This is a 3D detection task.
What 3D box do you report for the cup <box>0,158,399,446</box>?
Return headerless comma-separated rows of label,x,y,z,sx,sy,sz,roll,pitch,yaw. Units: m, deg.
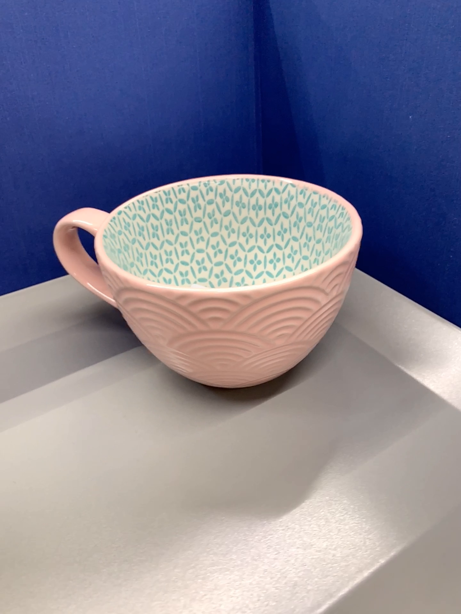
cup,-0.008,-0.015,0.237,0.150,0.064,0.105,12,44,22
